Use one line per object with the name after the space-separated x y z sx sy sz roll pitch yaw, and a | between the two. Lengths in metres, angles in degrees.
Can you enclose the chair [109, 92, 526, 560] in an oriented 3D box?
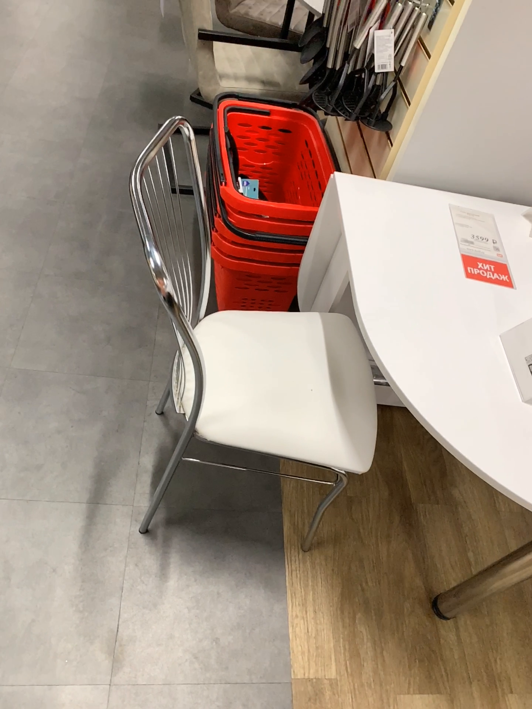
-0.024 0.055 1.193 0.550 0.956 0.452 6 50 -11 | chair
